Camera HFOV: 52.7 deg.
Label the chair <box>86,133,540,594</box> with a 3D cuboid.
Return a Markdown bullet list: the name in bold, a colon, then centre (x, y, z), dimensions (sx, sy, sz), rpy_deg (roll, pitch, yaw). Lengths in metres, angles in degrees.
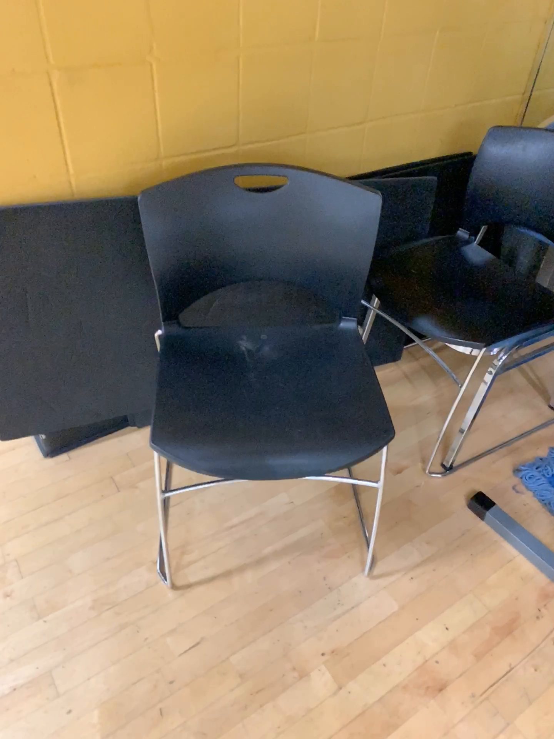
- **chair**: centre (0.006, -0.029, 1.281), dimensions (0.636, 0.722, 0.730), rpy_deg (-2, 44, -7)

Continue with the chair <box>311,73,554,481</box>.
- **chair**: centre (0.642, -0.303, 1.610), dimensions (0.777, 0.762, 0.678), rpy_deg (-19, 48, -23)
